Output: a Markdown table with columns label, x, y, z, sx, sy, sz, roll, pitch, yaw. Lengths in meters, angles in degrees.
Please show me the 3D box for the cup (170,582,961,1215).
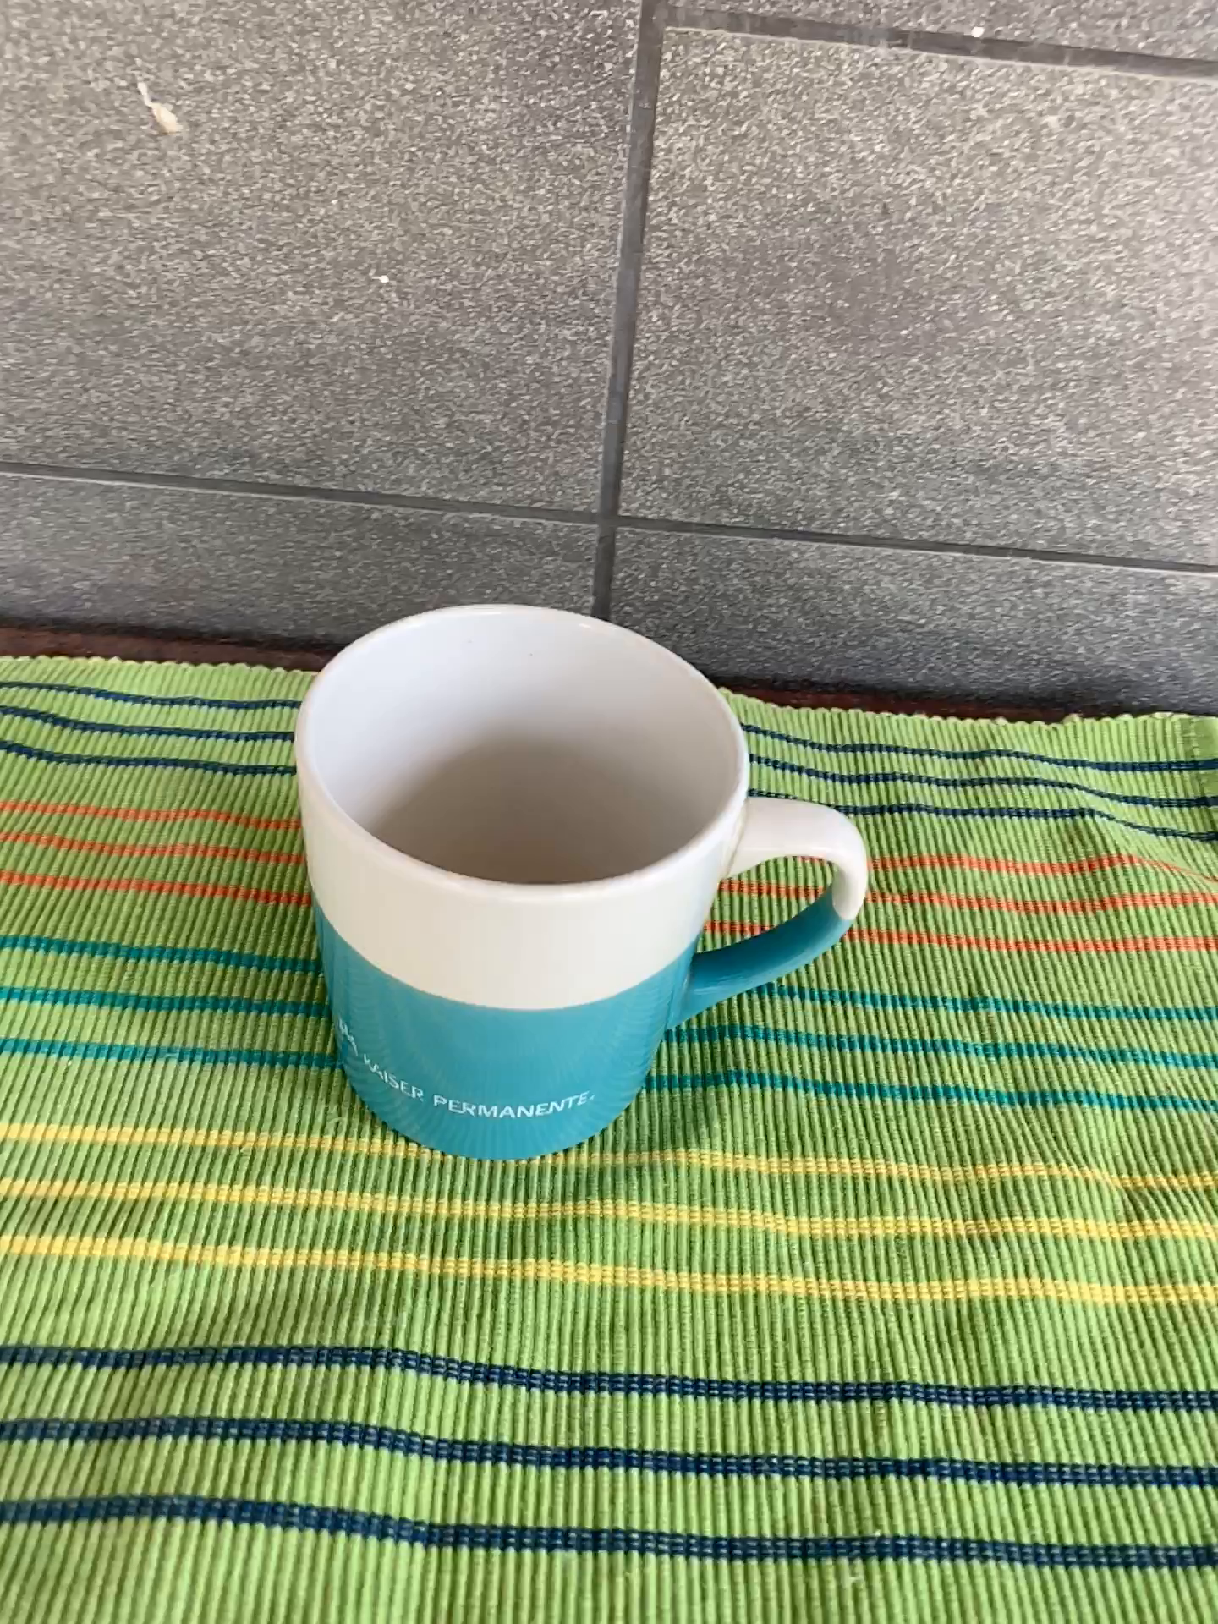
| label | x | y | z | sx | sy | sz | roll | pitch | yaw |
| --- | --- | --- | --- | --- | --- | --- | --- | --- | --- |
| cup | -0.011 | 0.020 | 0.292 | 0.140 | 0.100 | 0.100 | 3 | 41 | -4 |
